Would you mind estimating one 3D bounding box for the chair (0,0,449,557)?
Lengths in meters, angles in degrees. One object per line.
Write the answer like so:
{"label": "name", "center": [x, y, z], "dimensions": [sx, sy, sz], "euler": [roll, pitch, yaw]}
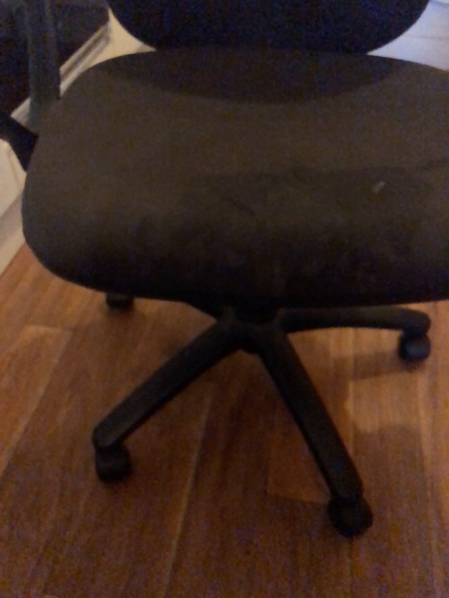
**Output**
{"label": "chair", "center": [0.058, -0.268, 0.683], "dimensions": [0.685, 0.756, 0.879], "euler": [3, 46, 2]}
